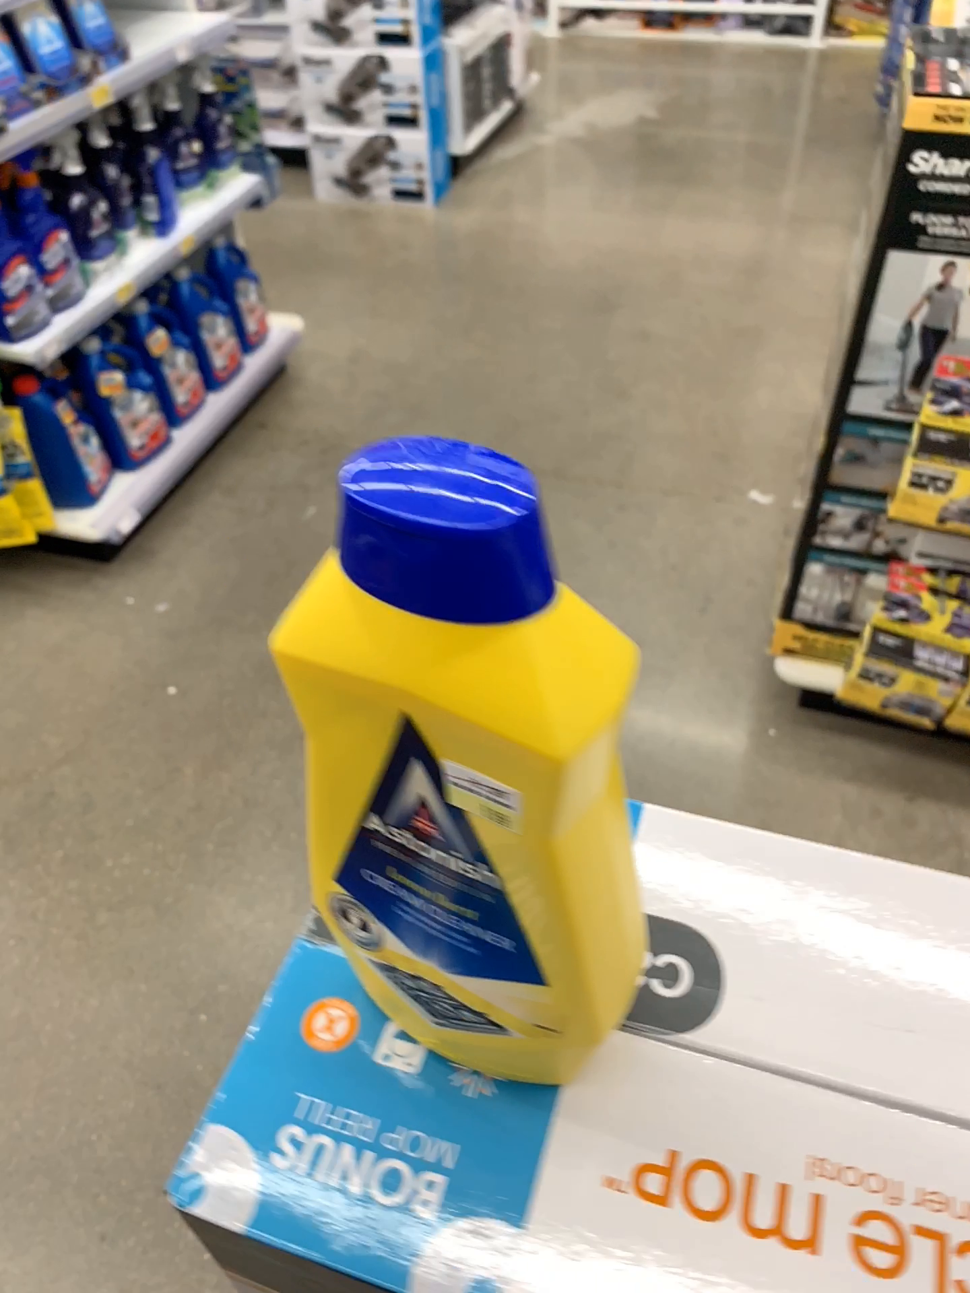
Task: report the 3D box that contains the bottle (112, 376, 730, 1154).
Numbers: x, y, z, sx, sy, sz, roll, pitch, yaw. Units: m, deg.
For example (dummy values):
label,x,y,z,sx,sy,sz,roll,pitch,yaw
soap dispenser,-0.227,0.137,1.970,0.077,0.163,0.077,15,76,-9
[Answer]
label,x,y,z,sx,sy,sz,roll,pitch,yaw
bottle,-0.009,0.041,0.256,0.100,0.189,0.060,19,48,21
